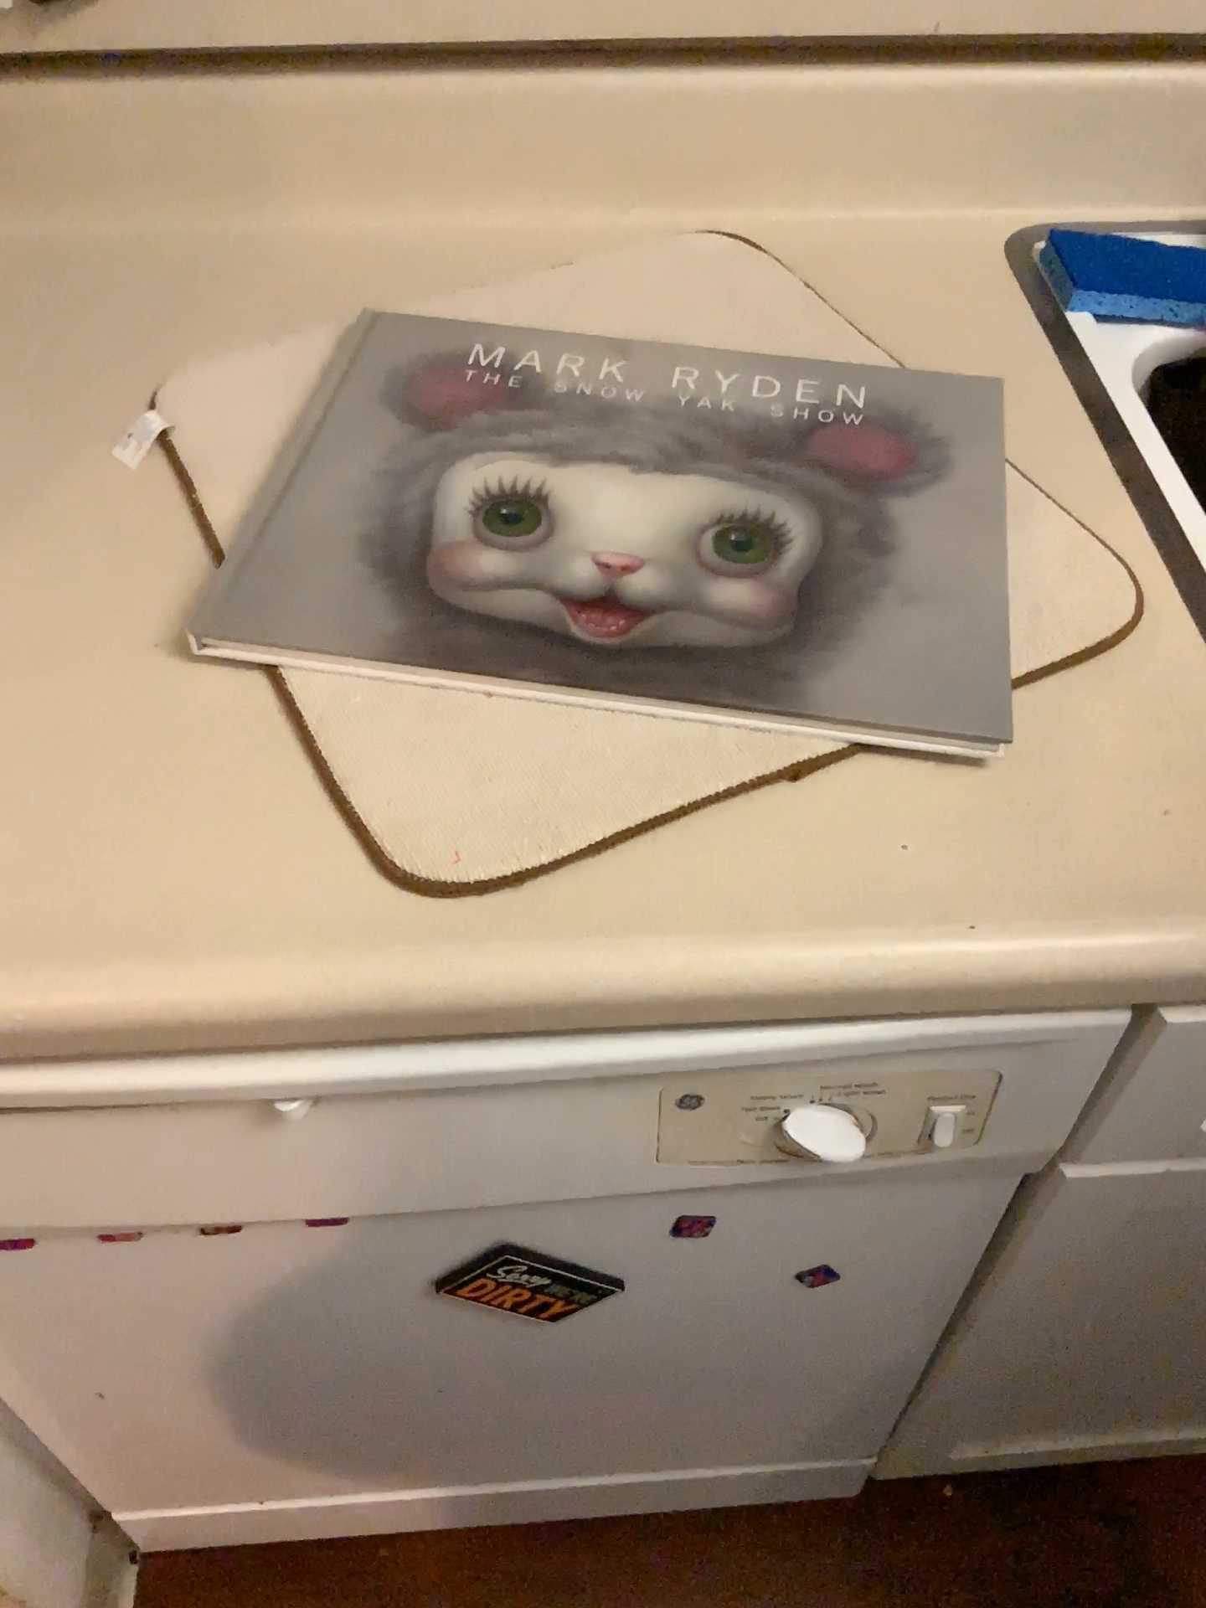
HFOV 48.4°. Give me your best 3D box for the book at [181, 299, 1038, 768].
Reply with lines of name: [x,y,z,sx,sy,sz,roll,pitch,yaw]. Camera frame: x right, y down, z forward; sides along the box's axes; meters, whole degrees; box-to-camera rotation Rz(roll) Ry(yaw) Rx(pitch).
book: [0.022,-0.157,0.687,0.380,0.020,0.290,8,50,6]
